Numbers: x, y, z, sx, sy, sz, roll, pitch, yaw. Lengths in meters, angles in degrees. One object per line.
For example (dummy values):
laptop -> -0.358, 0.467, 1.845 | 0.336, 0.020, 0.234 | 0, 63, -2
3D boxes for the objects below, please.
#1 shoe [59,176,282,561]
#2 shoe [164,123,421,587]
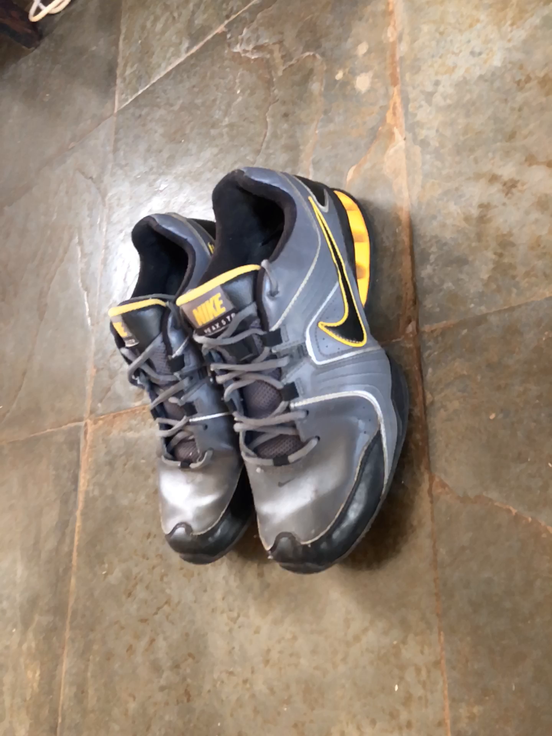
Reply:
shoe -> -0.068, 0.009, 0.430 | 0.100, 0.100, 0.240 | -13, 68, 40
shoe -> 0.012, 0.000, 0.366 | 0.100, 0.100, 0.240 | -13, 68, 40
